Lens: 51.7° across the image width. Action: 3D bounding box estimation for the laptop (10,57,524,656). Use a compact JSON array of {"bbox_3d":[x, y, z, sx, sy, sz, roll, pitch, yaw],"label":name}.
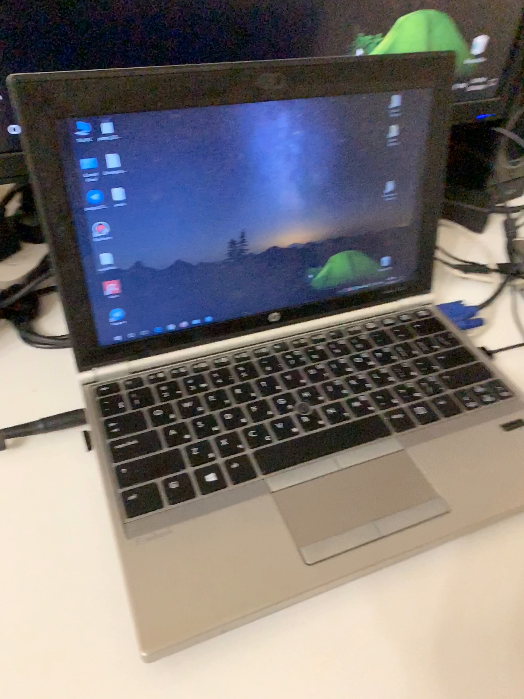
[{"bbox_3d":[0.040,-0.033,0.304,0.284,0.176,0.227,-13,44,-19],"label":"laptop"}]
